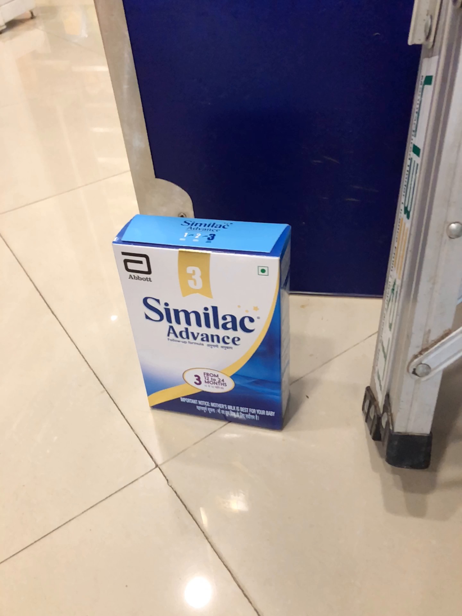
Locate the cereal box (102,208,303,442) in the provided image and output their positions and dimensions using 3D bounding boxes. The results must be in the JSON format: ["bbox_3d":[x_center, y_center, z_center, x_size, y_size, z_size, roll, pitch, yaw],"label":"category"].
[{"bbox_3d":[-0.013,0.020,0.437,0.140,0.199,0.050,7,41,15],"label":"cereal box"}]
